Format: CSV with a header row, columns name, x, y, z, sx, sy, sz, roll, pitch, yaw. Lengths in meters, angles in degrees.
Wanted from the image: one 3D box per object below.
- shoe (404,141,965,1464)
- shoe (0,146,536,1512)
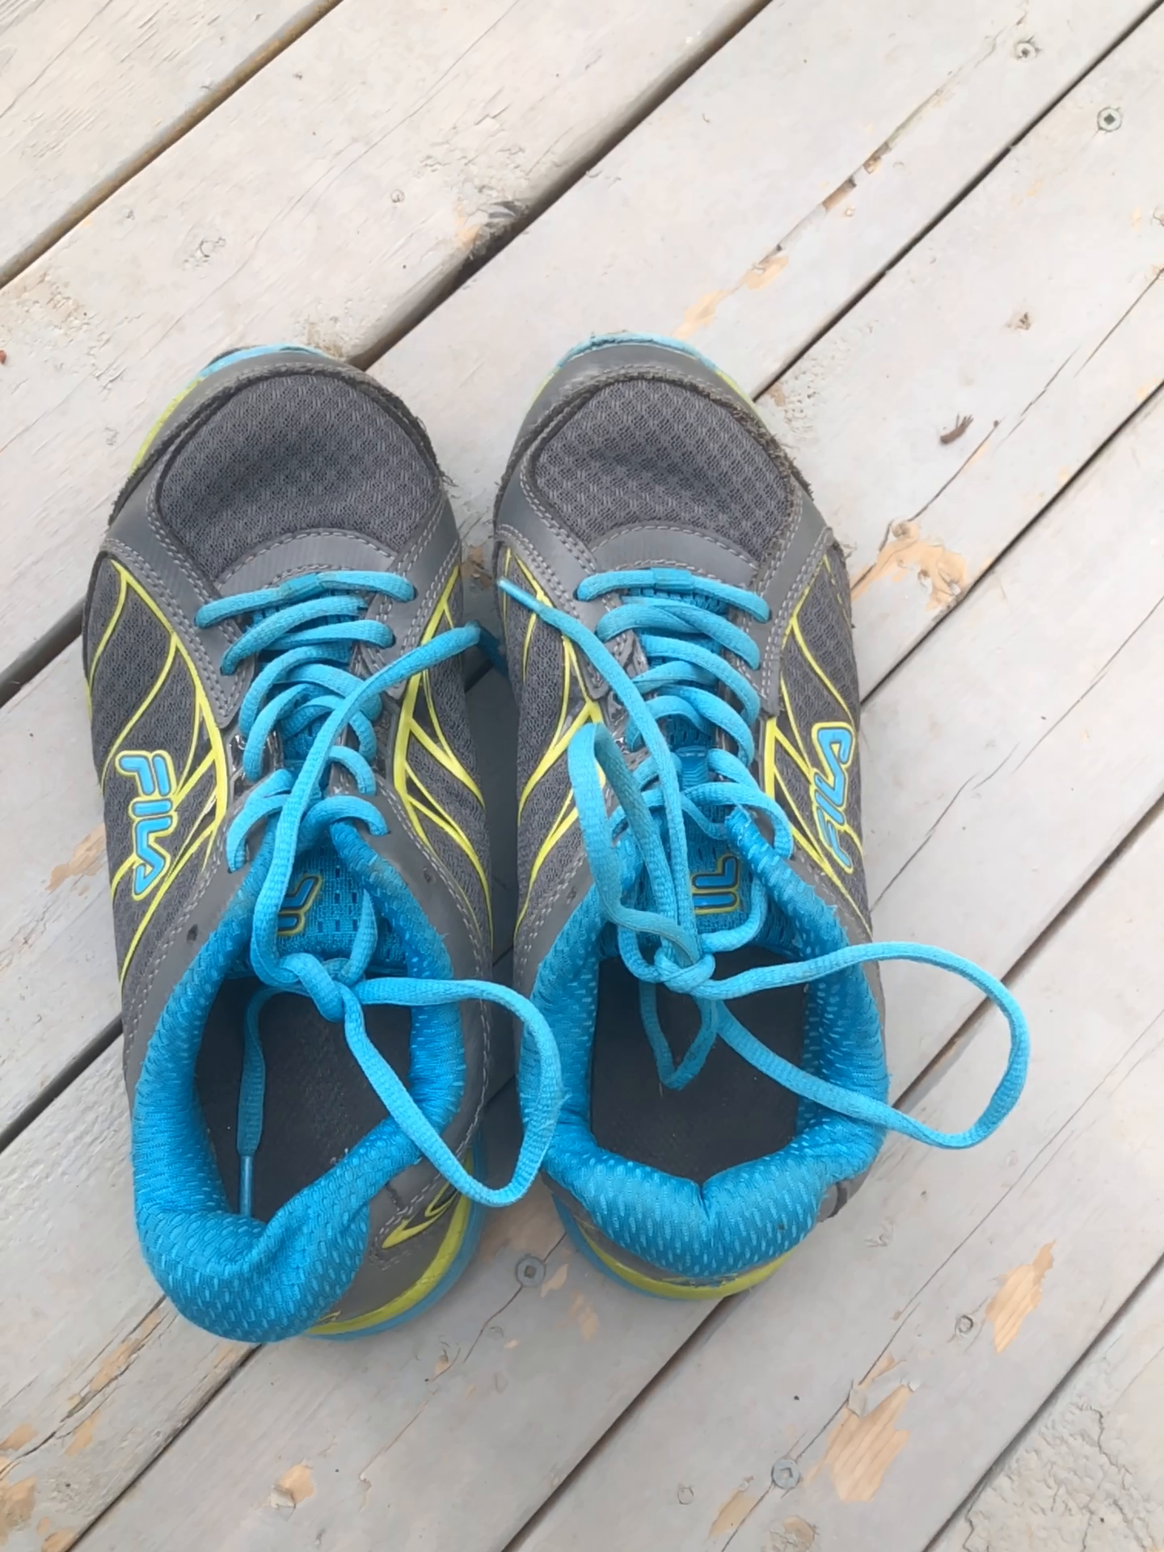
name,x,y,z,sx,sy,sz,roll,pitch,yaw
shoe,0.017,0.001,0.318,0.110,0.090,0.280,-1,83,-2
shoe,-0.082,0.009,0.346,0.110,0.130,0.290,-6,84,-2
